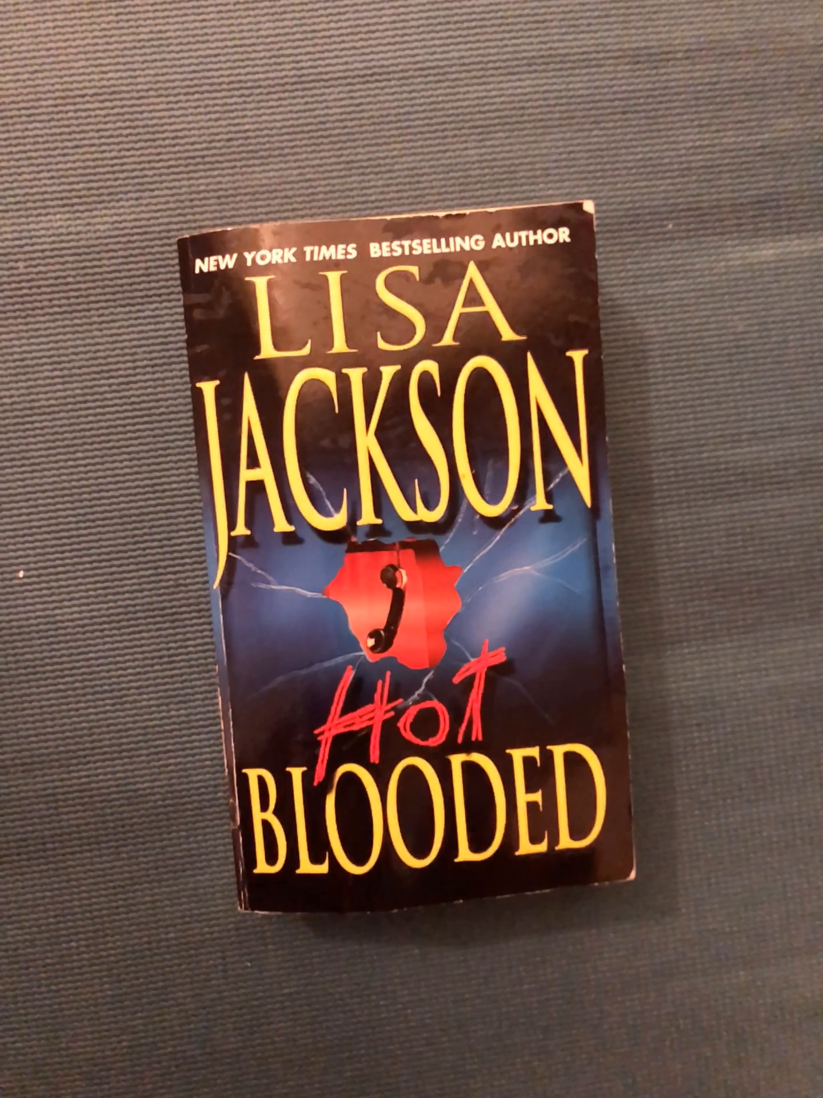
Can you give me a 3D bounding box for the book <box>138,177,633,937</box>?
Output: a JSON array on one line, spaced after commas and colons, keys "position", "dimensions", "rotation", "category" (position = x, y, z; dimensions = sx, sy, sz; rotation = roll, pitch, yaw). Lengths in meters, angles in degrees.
[{"position": [-0.005, 0.003, 0.234], "dimensions": [0.103, 0.040, 0.171], "rotation": [-4, 93, 2], "category": "book"}]
